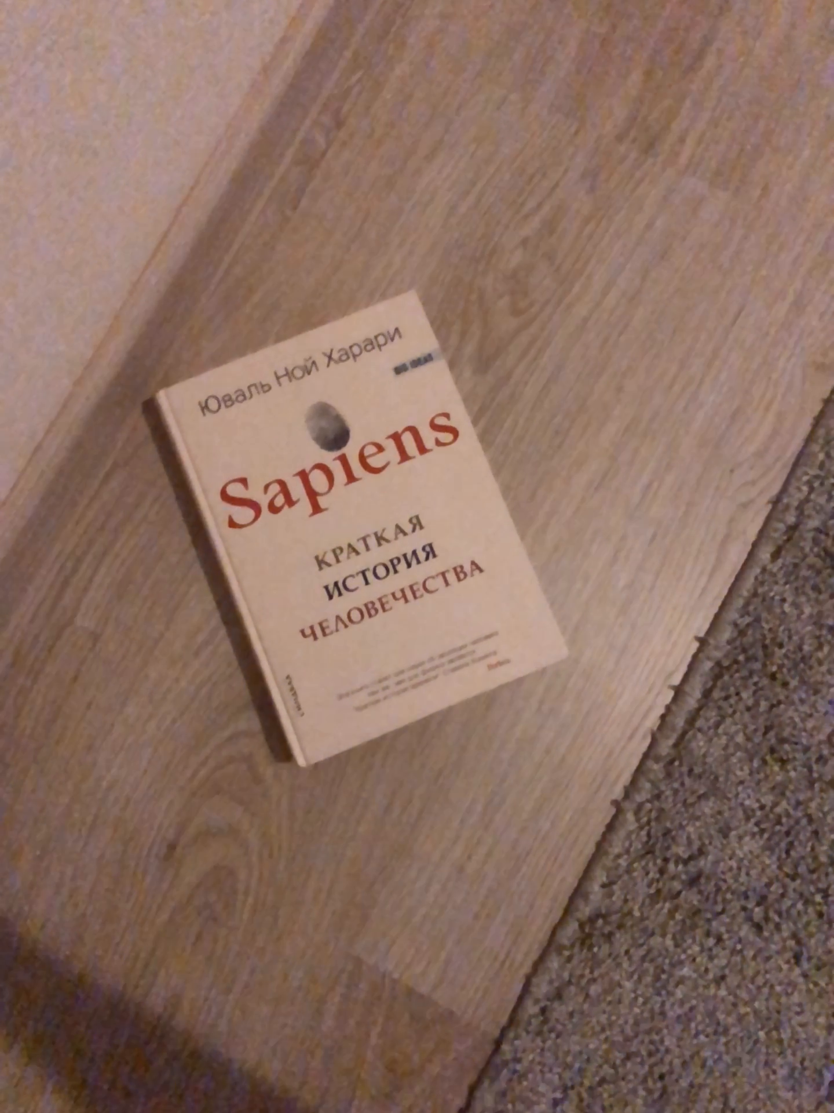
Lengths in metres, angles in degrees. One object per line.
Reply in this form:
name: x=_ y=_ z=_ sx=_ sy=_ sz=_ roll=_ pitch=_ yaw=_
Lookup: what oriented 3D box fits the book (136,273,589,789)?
book: x=-0.036 y=-0.018 z=0.561 sx=0.186 sy=0.040 sz=0.258 roll=-22 pitch=82 yaw=-1
